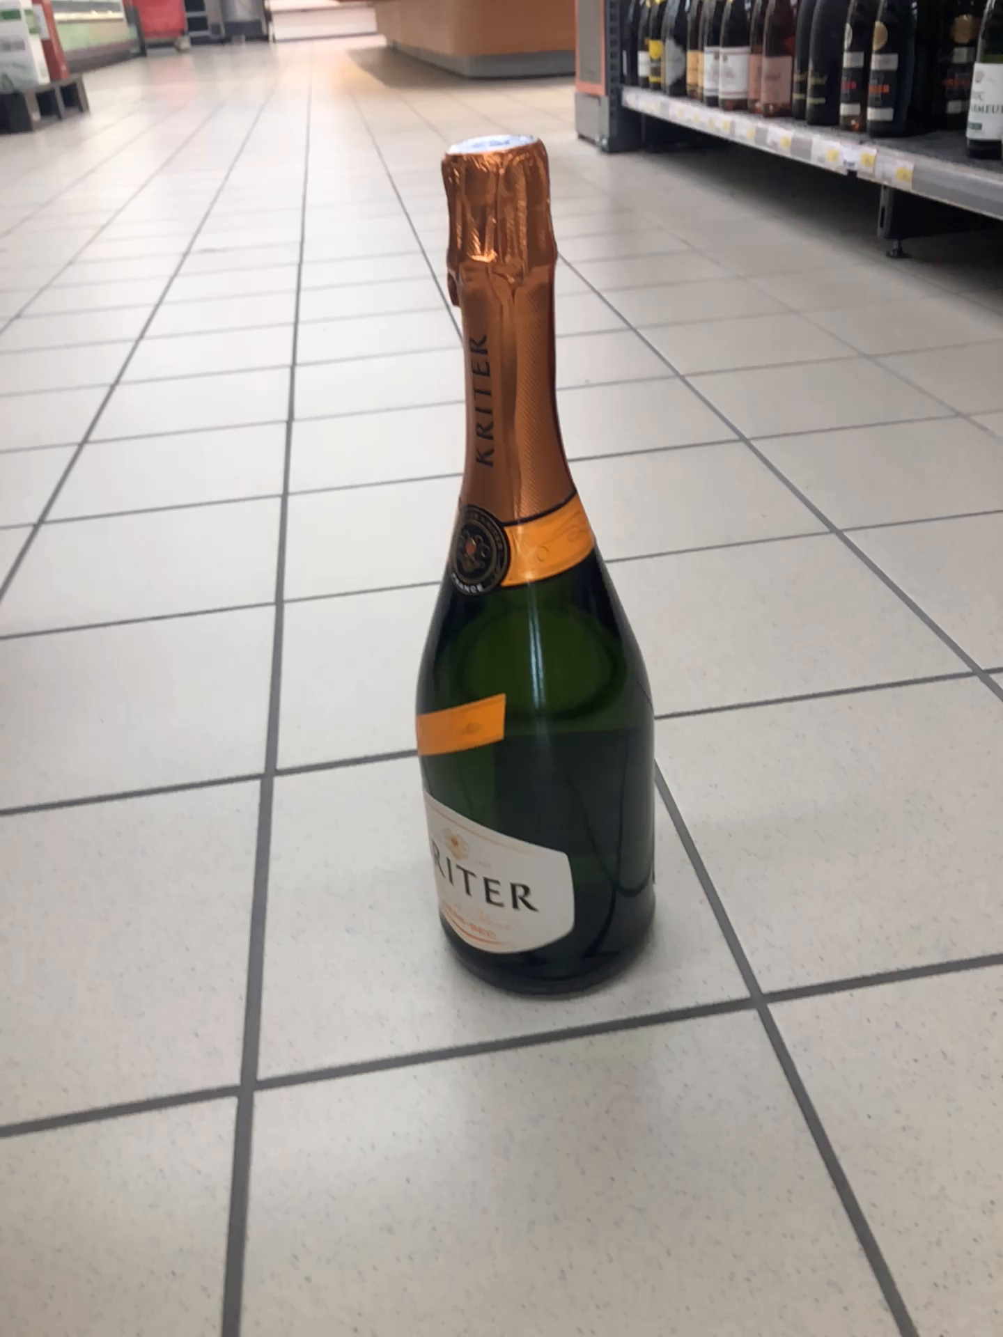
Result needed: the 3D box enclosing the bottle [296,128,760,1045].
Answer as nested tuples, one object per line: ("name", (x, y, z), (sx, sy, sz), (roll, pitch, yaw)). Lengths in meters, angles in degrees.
("bottle", (0.017, -0.025, 0.410), (0.100, 0.308, 0.100), (-3, 29, 2))
